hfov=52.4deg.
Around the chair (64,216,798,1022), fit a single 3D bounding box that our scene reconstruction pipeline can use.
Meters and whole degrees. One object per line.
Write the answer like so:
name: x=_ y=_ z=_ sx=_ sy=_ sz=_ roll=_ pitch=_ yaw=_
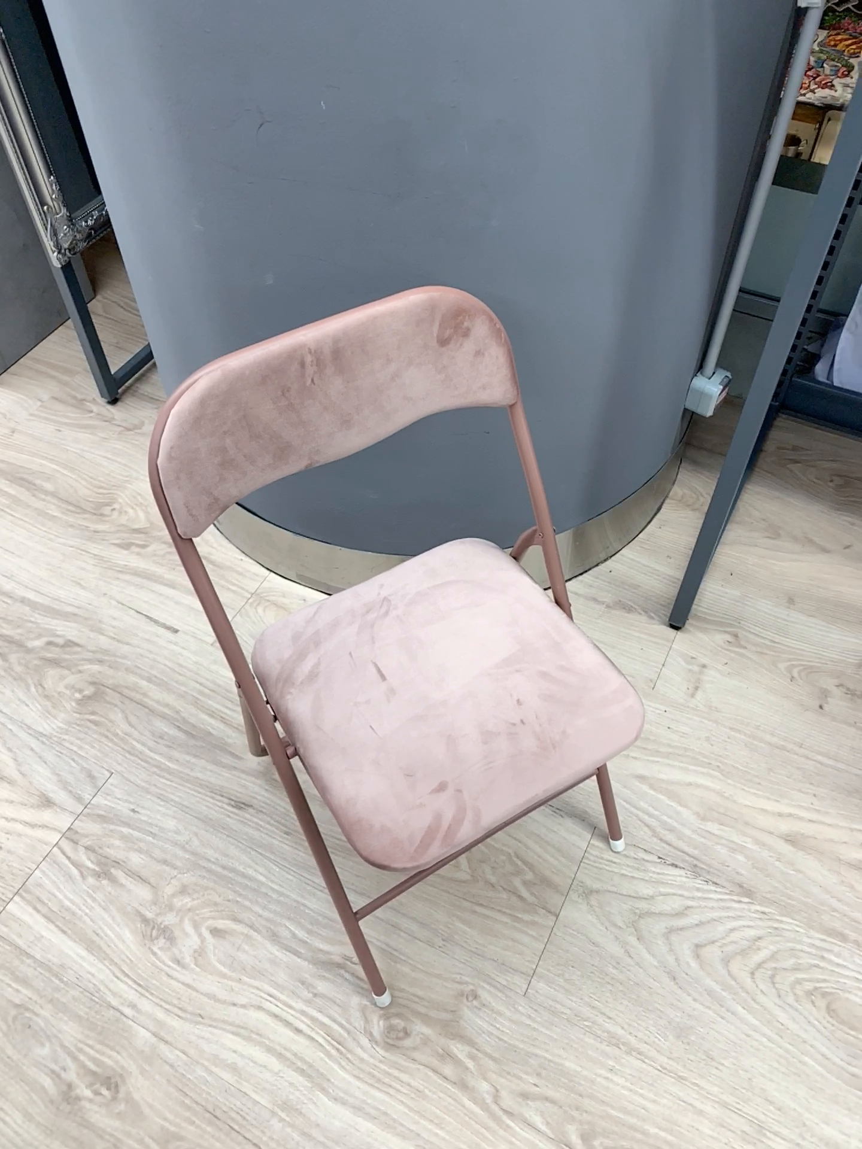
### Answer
chair: x=-0.016 y=0.104 z=1.087 sx=0.460 sy=0.797 sz=0.481 roll=-28 pitch=56 yaw=-20
